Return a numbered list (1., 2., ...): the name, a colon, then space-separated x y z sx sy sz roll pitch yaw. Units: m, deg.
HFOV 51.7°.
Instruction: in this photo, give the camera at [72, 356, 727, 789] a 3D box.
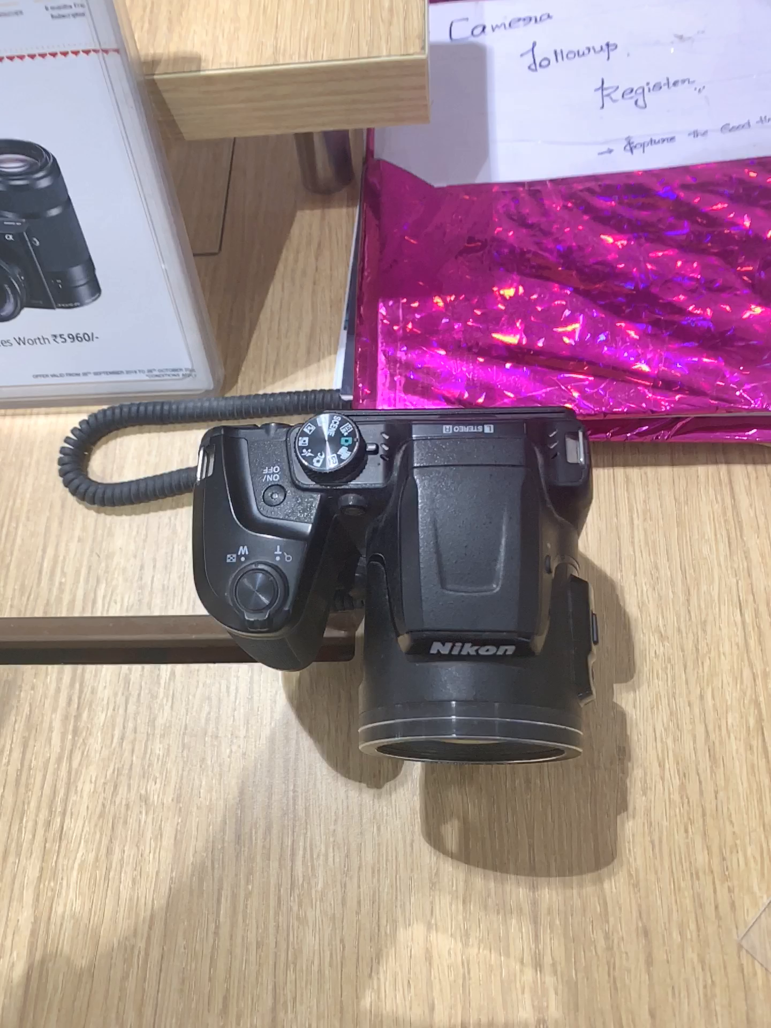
1. camera: 0.005 0.023 0.217 0.130 0.090 0.090 -1 66 5
